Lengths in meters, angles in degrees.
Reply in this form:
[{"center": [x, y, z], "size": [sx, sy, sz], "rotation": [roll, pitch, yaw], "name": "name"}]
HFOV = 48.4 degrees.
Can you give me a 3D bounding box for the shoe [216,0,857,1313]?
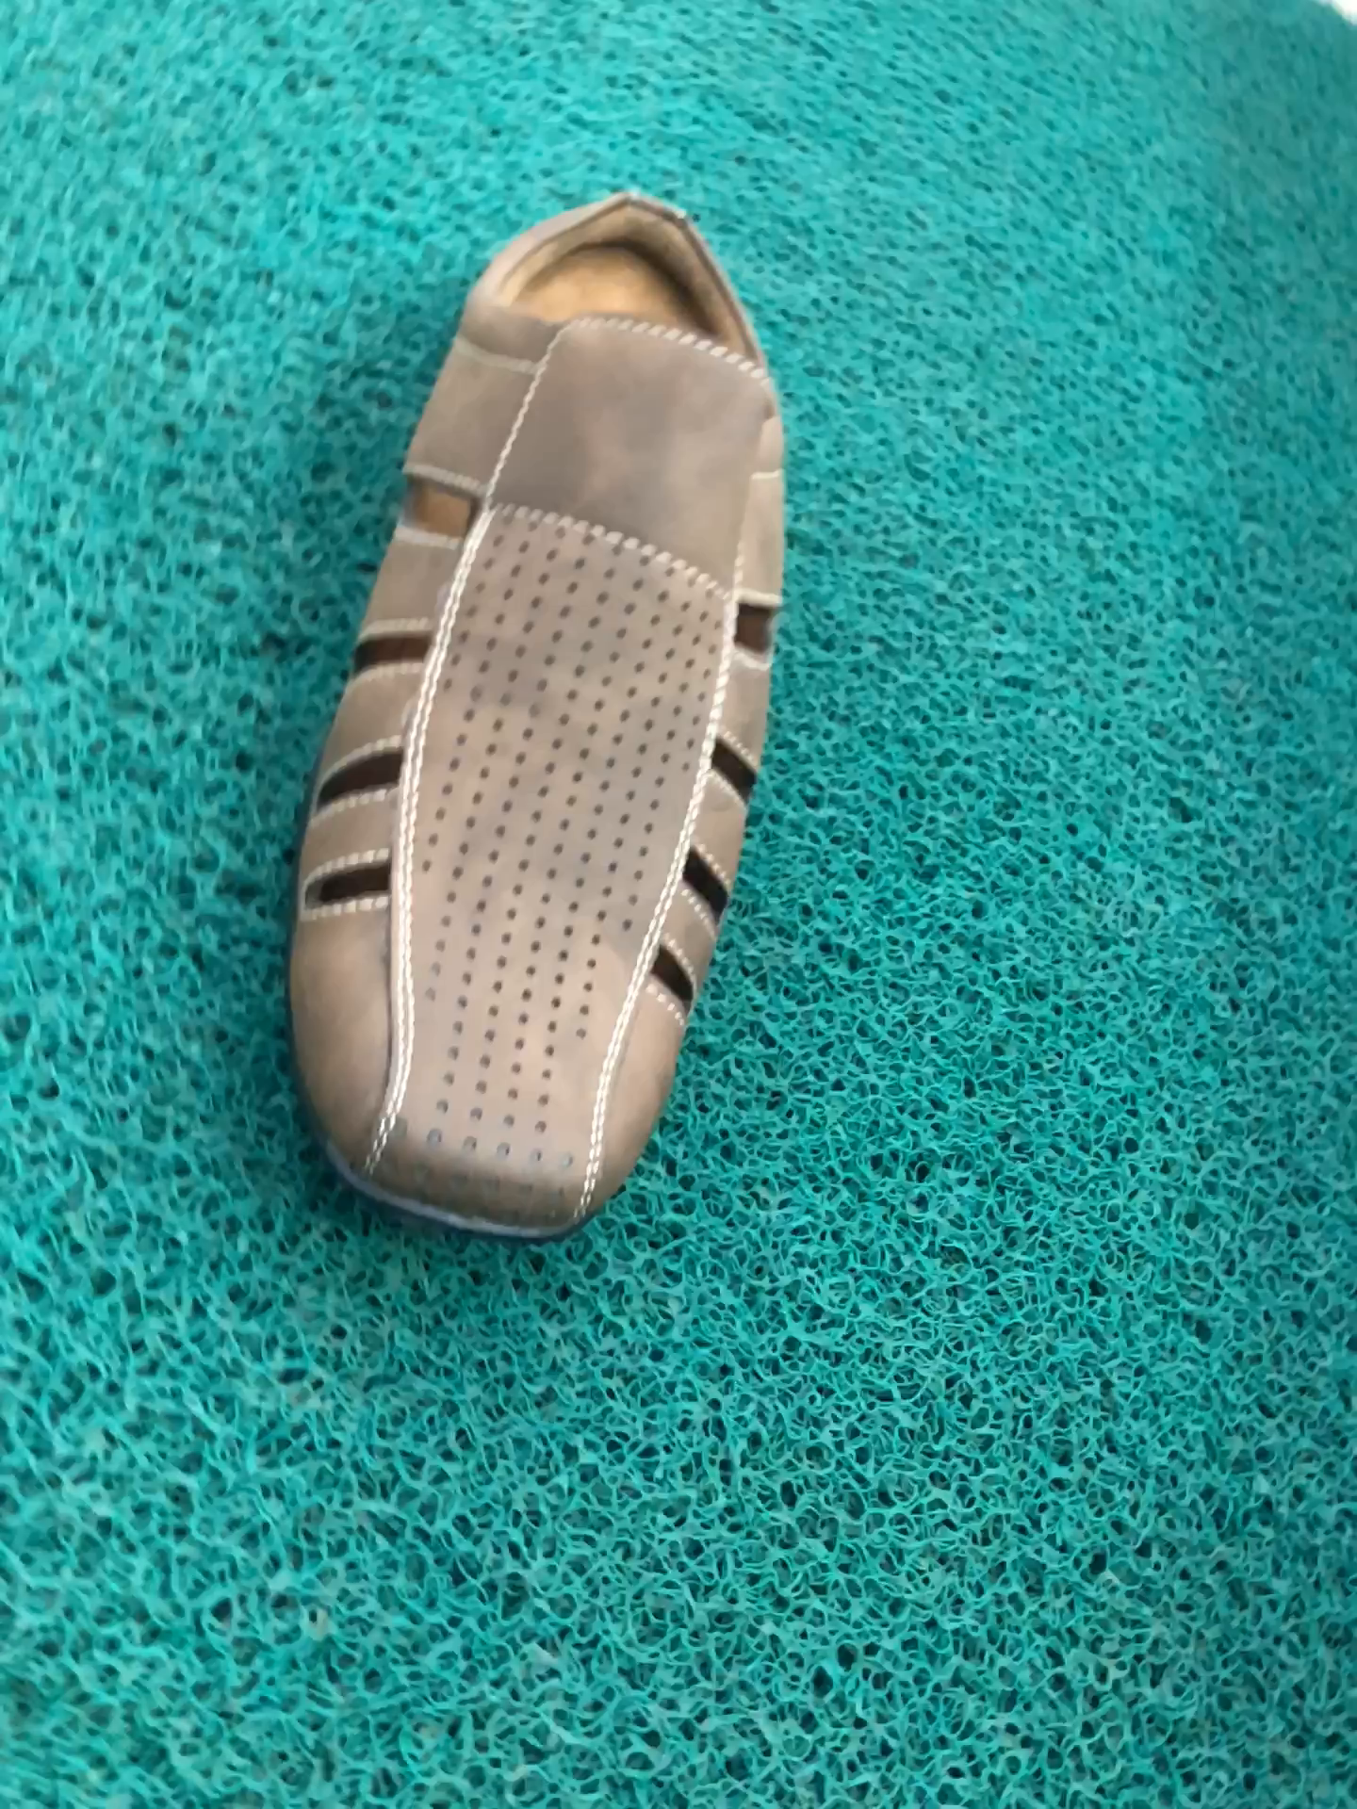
[{"center": [-0.019, -0.070, 0.333], "size": [0.090, 0.070, 0.291], "rotation": [15, 58, -18], "name": "shoe"}]
